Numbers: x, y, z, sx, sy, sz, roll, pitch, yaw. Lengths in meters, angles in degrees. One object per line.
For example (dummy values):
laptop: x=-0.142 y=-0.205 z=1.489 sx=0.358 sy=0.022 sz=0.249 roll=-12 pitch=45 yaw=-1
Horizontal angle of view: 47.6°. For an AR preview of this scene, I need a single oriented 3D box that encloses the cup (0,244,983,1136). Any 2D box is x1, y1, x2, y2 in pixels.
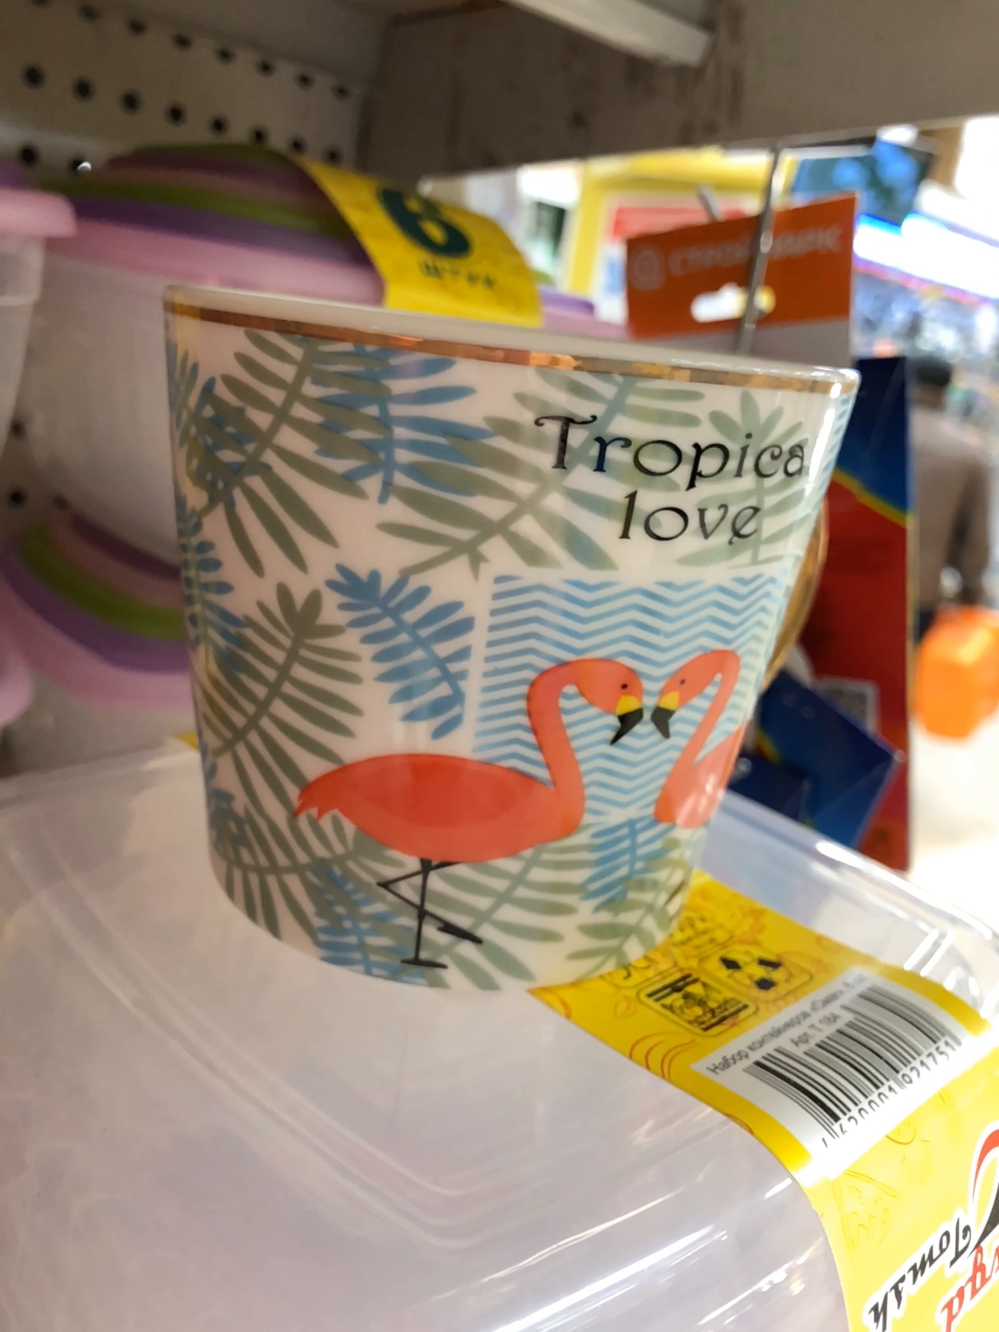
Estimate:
cup: x=0.003 y=-0.014 z=0.190 sx=0.102 sy=0.085 sz=0.129 roll=19 pitch=21 yaw=31
